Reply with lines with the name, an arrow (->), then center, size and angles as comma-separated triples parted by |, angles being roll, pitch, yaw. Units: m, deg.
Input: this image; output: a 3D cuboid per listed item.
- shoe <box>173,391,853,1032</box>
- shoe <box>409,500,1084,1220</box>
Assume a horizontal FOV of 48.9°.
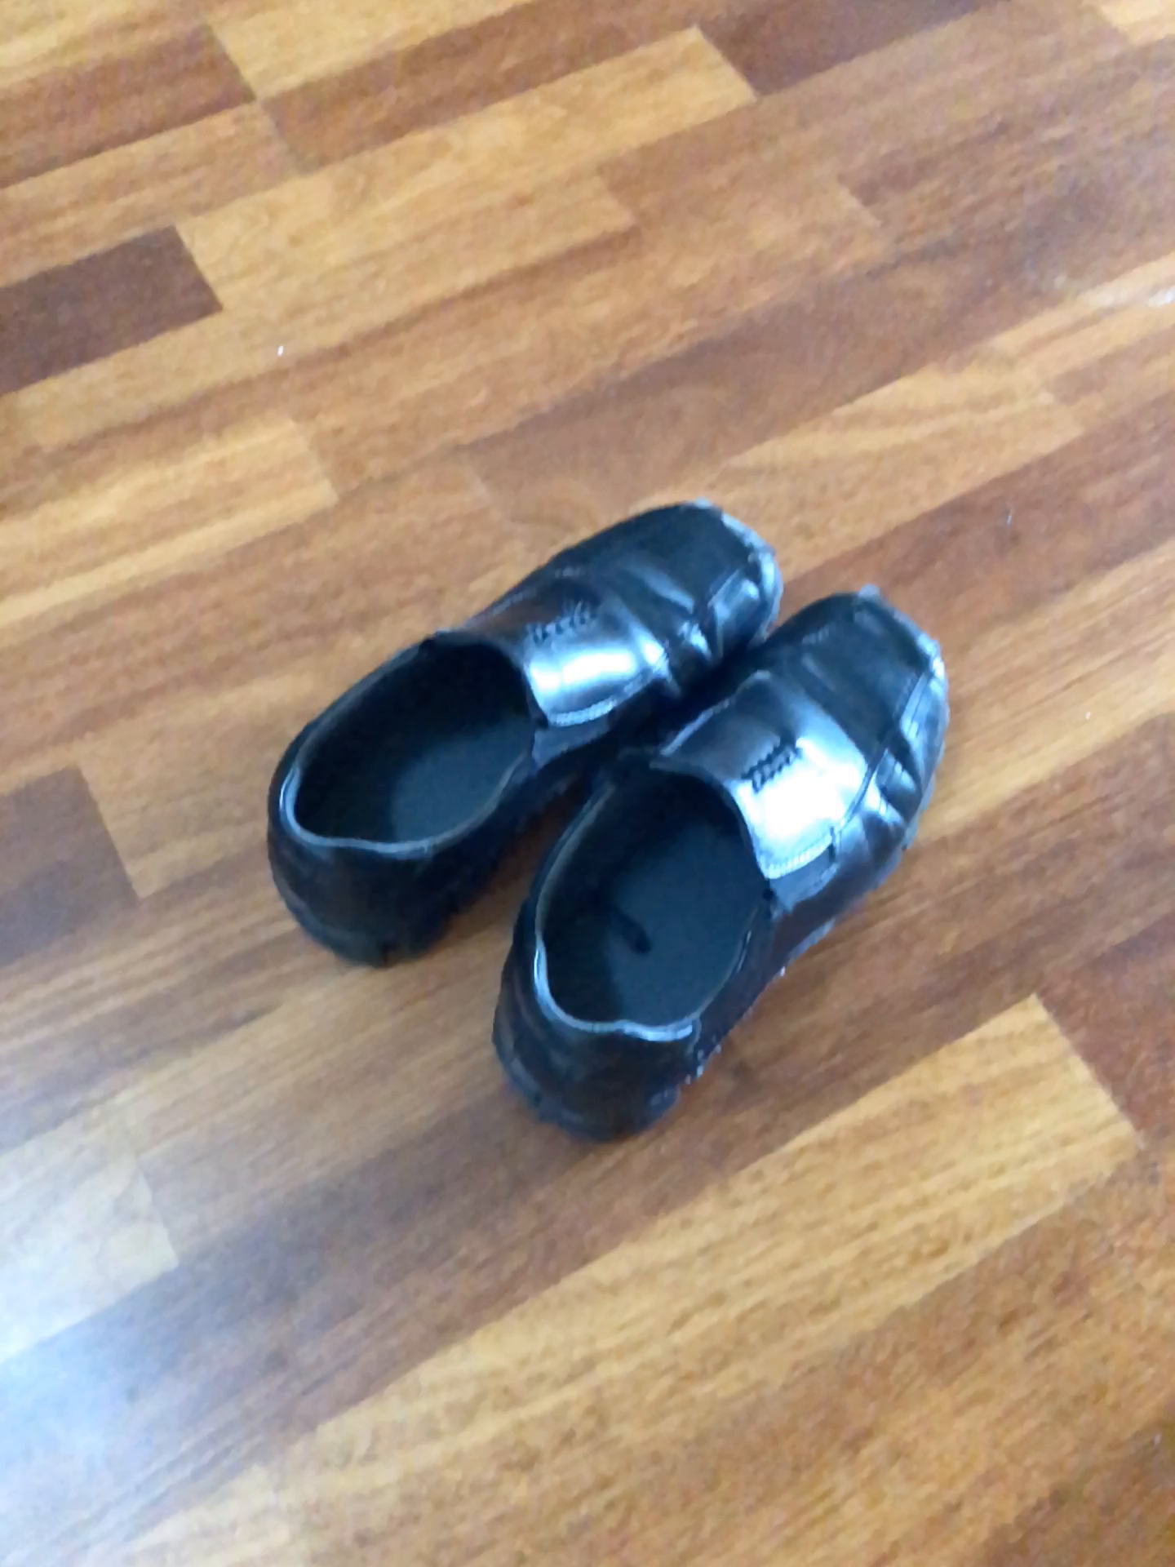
shoe -> -0.020, -0.031, 0.475 | 0.233, 0.075, 0.091 | -41, 71, -18
shoe -> 0.058, 0.021, 0.447 | 0.094, 0.075, 0.233 | 37, 69, 16
